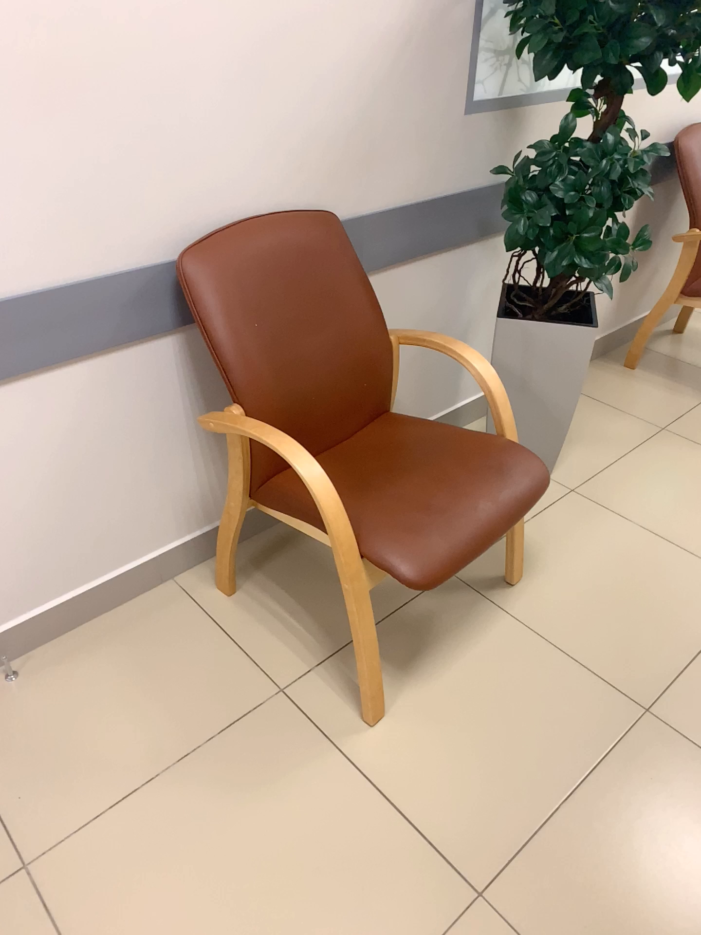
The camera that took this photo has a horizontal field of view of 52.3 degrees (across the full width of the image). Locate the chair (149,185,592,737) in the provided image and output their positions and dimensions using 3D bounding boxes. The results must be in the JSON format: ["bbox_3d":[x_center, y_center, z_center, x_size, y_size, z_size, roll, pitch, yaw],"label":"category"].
[{"bbox_3d":[0.042,-0.053,1.713,0.601,0.984,0.673,28,42,33],"label":"chair"}]
